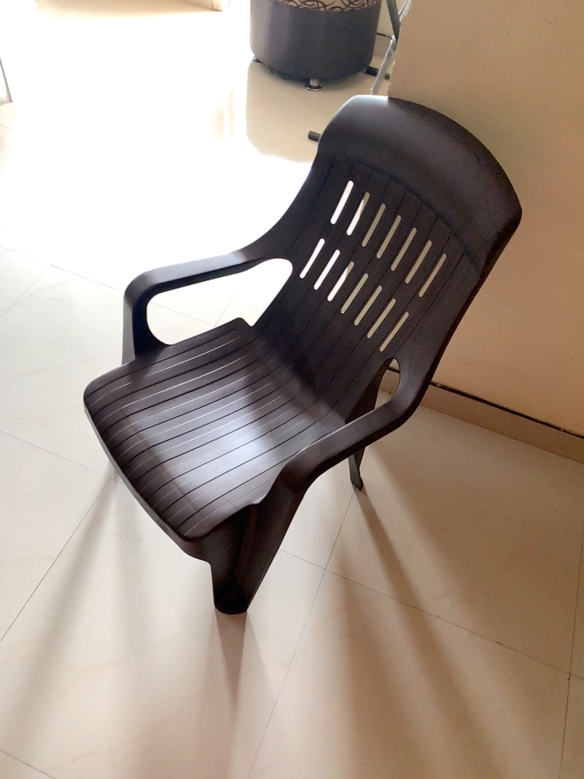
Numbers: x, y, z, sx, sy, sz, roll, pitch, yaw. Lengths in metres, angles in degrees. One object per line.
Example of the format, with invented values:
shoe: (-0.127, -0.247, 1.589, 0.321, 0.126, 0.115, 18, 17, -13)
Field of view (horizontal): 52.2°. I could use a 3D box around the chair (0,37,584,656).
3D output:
chair: (-0.049, -0.024, 1.284, 0.662, 1.033, 0.602, -29, 61, -25)
